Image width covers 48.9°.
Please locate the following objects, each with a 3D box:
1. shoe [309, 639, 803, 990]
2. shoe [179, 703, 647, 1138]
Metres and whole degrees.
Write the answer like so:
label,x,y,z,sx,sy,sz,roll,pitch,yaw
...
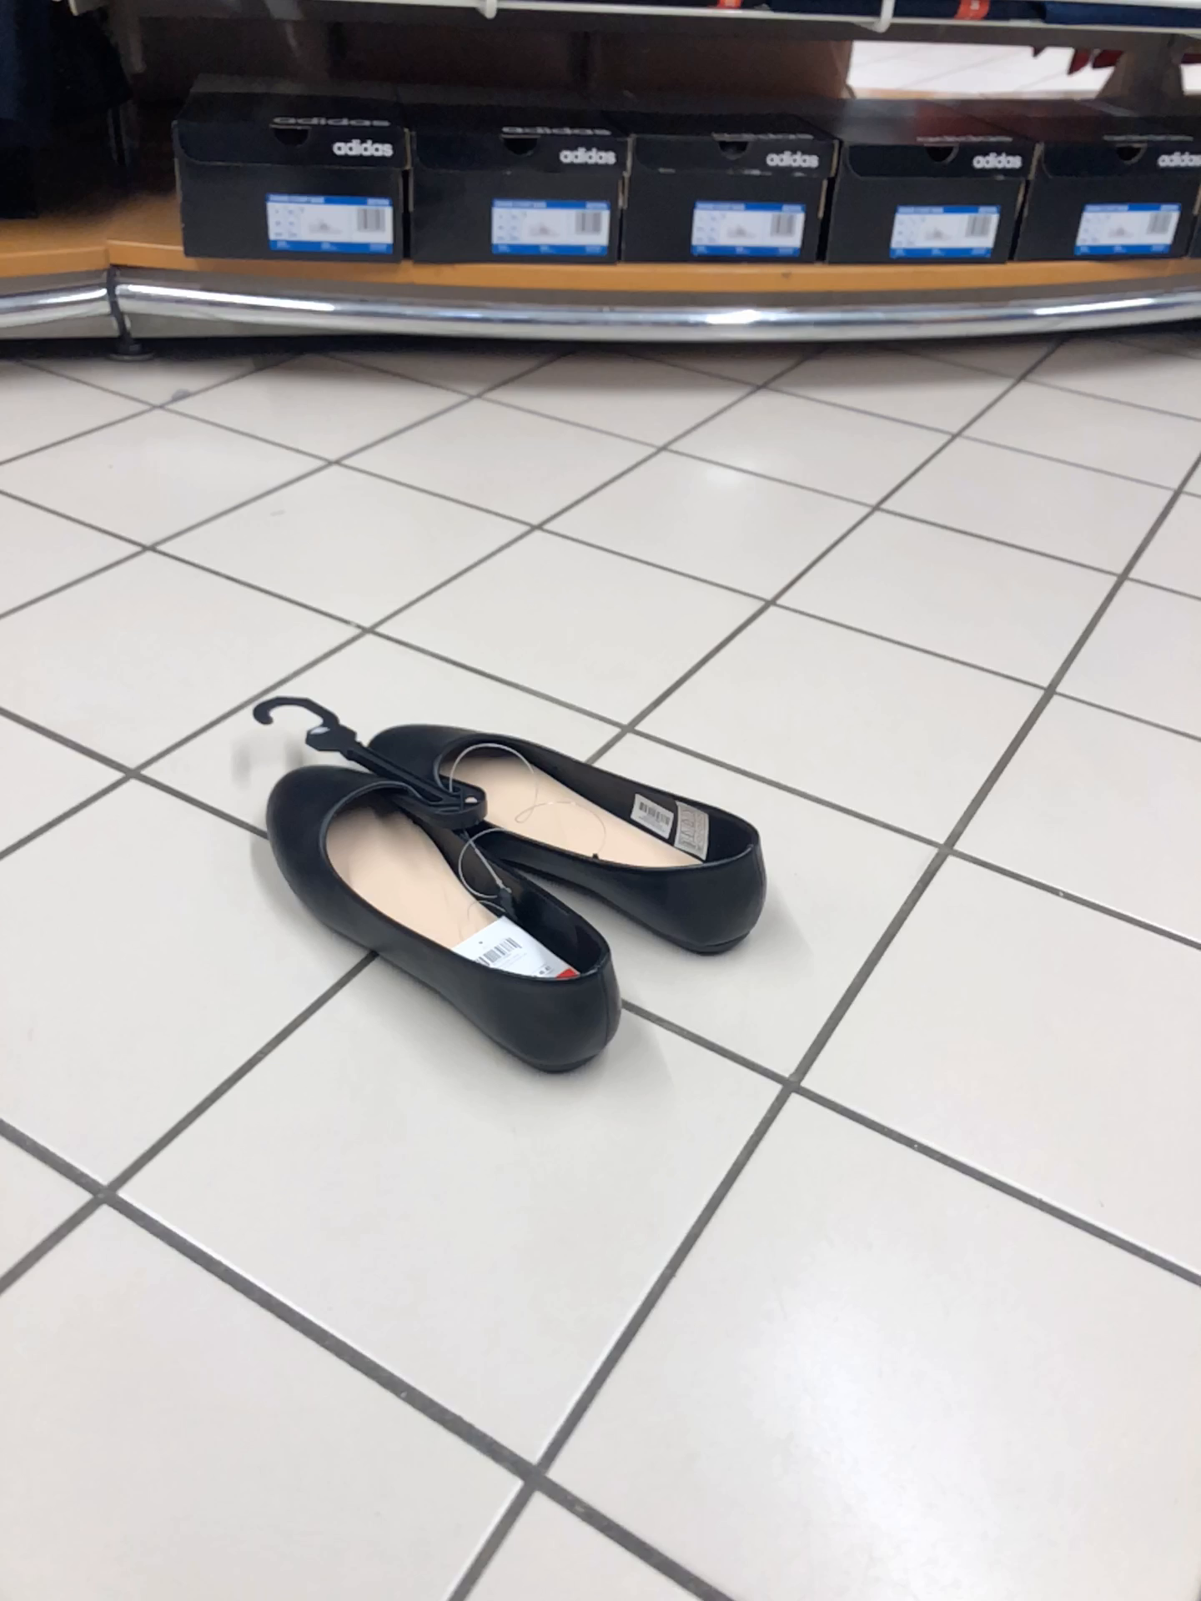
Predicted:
label,x,y,z,sx,sy,sz,roll,pitch,yaw
shoe,-0.029,-0.002,0.679,0.250,0.060,0.081,25,41,26
shoe,-0.096,0.045,0.628,0.080,0.060,0.250,-27,46,-35
